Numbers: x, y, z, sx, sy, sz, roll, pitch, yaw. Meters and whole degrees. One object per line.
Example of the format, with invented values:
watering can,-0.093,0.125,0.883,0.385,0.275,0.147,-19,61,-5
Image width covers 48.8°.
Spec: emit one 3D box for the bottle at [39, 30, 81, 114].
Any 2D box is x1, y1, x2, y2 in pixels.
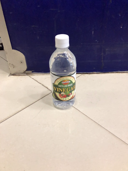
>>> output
bottle,-0.009,-0.026,0.349,0.080,0.189,0.070,-6,36,-7
